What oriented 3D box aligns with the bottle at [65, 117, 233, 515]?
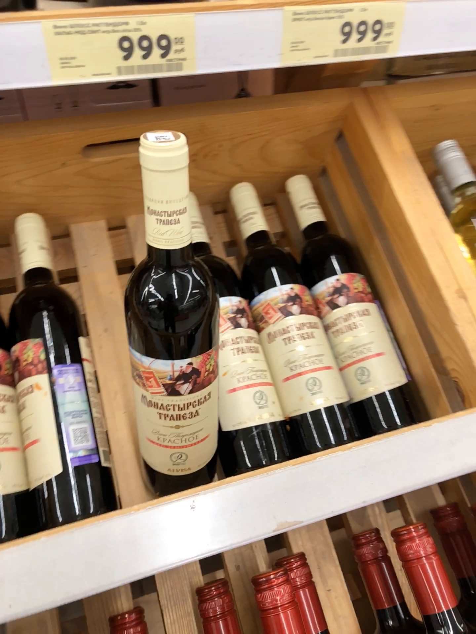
[{"bbox_3d":[-0.051,0.022,0.395,0.080,0.308,0.080,-1,38,0],"label":"bottle"}]
